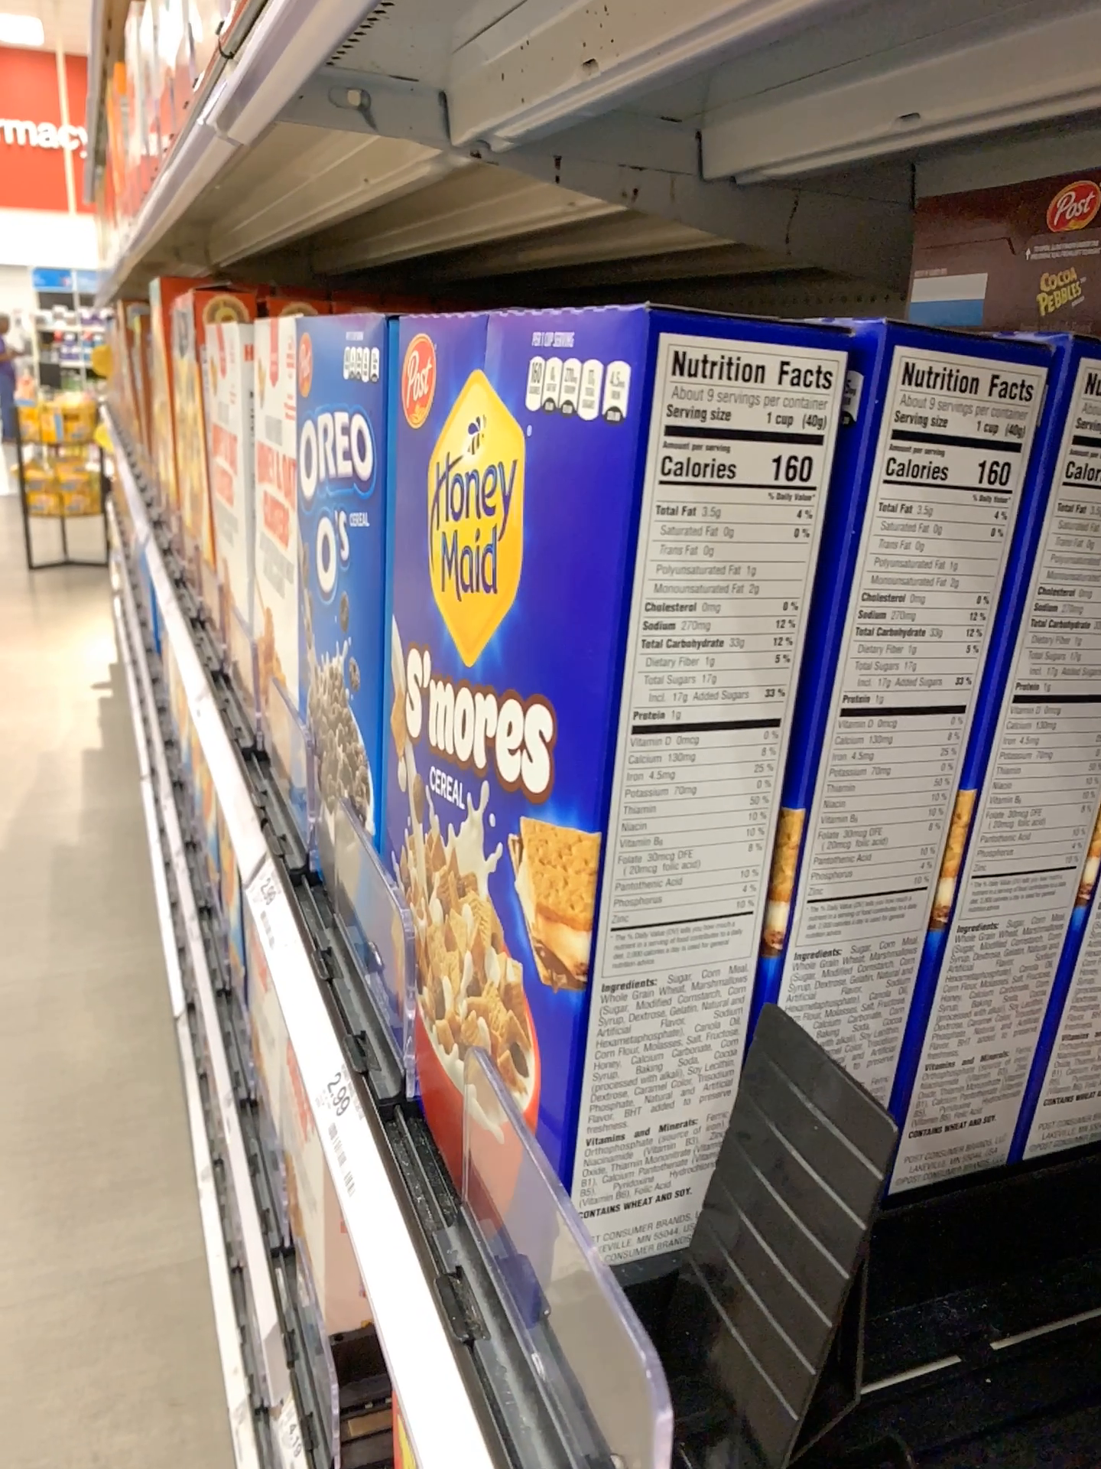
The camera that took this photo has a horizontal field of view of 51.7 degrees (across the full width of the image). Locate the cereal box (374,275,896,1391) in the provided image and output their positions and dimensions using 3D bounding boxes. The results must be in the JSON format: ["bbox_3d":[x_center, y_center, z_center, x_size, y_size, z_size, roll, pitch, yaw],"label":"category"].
[{"bbox_3d":[0.000,0.011,0.349,0.060,0.269,0.191,-2,18,-21],"label":"cereal box"}]

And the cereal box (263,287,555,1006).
[{"bbox_3d":[-0.077,-0.049,0.508,0.070,0.269,0.181,-3,18,-23],"label":"cereal box"}]
